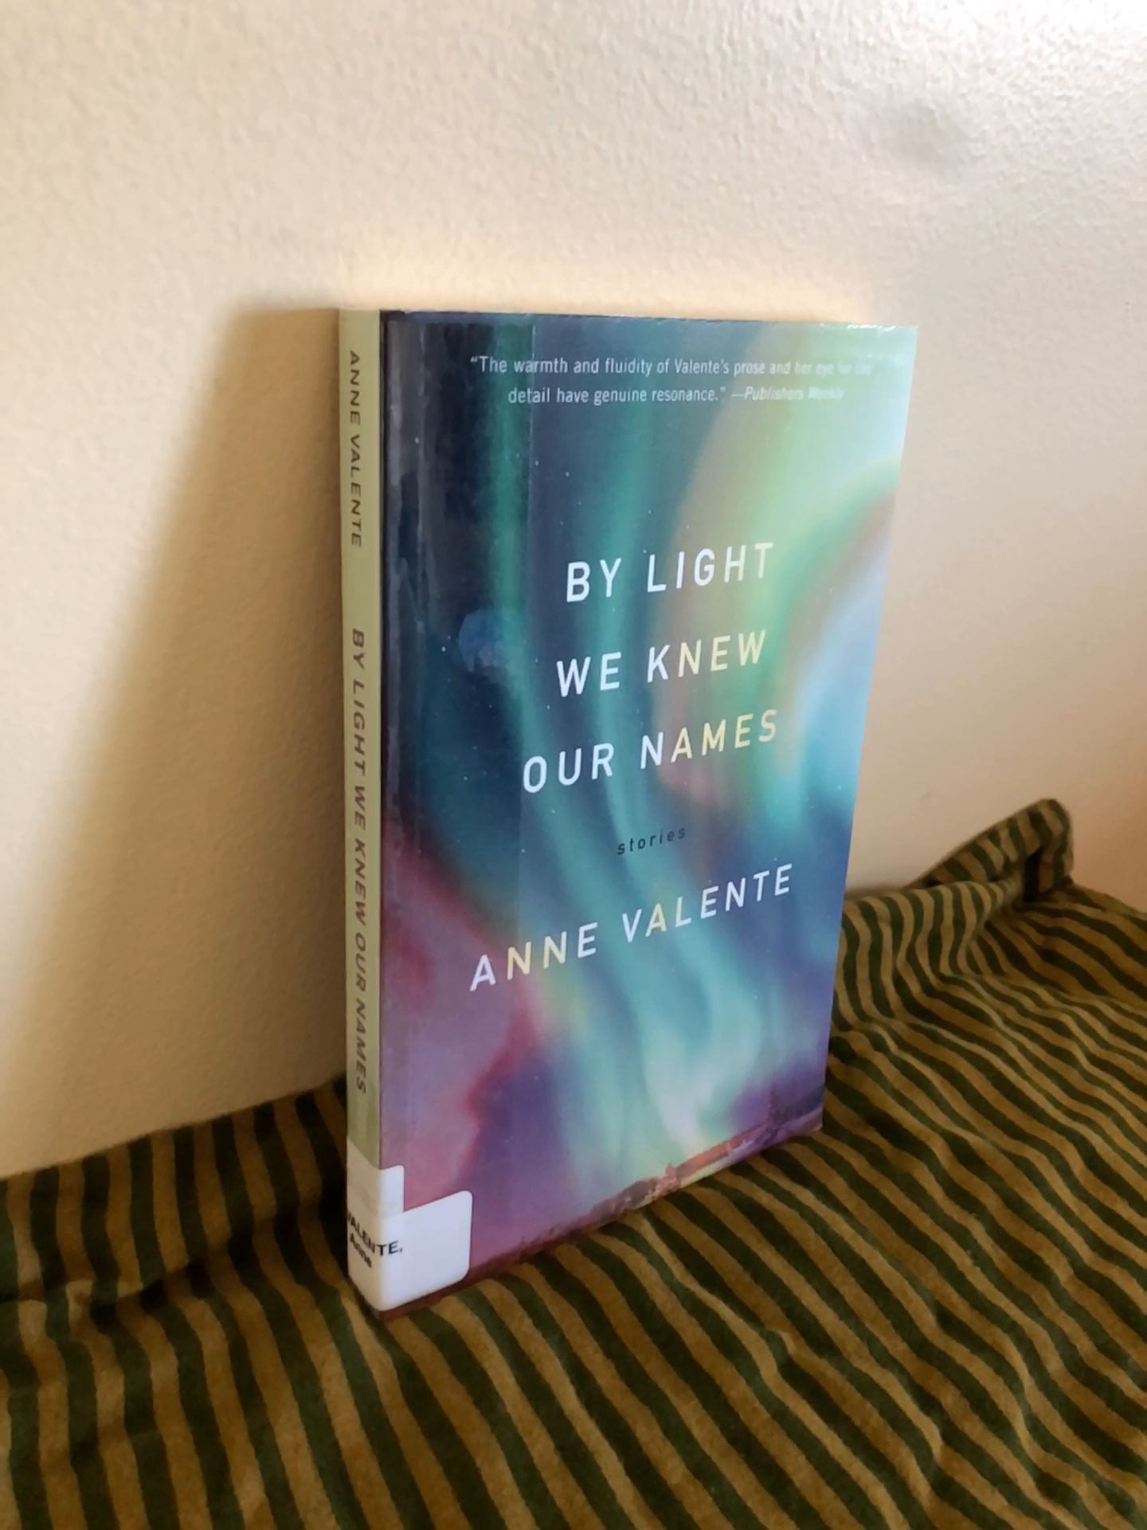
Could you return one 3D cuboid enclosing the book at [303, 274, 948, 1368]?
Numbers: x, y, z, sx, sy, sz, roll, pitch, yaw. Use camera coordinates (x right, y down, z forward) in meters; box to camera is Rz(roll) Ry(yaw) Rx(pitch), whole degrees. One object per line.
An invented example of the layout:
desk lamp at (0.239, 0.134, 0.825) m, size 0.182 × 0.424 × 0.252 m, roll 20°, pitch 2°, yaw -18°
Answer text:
book at (0.011, 0.014, 0.288) m, size 0.142 × 0.223 × 0.020 m, roll -12°, pitch 28°, yaw -38°
